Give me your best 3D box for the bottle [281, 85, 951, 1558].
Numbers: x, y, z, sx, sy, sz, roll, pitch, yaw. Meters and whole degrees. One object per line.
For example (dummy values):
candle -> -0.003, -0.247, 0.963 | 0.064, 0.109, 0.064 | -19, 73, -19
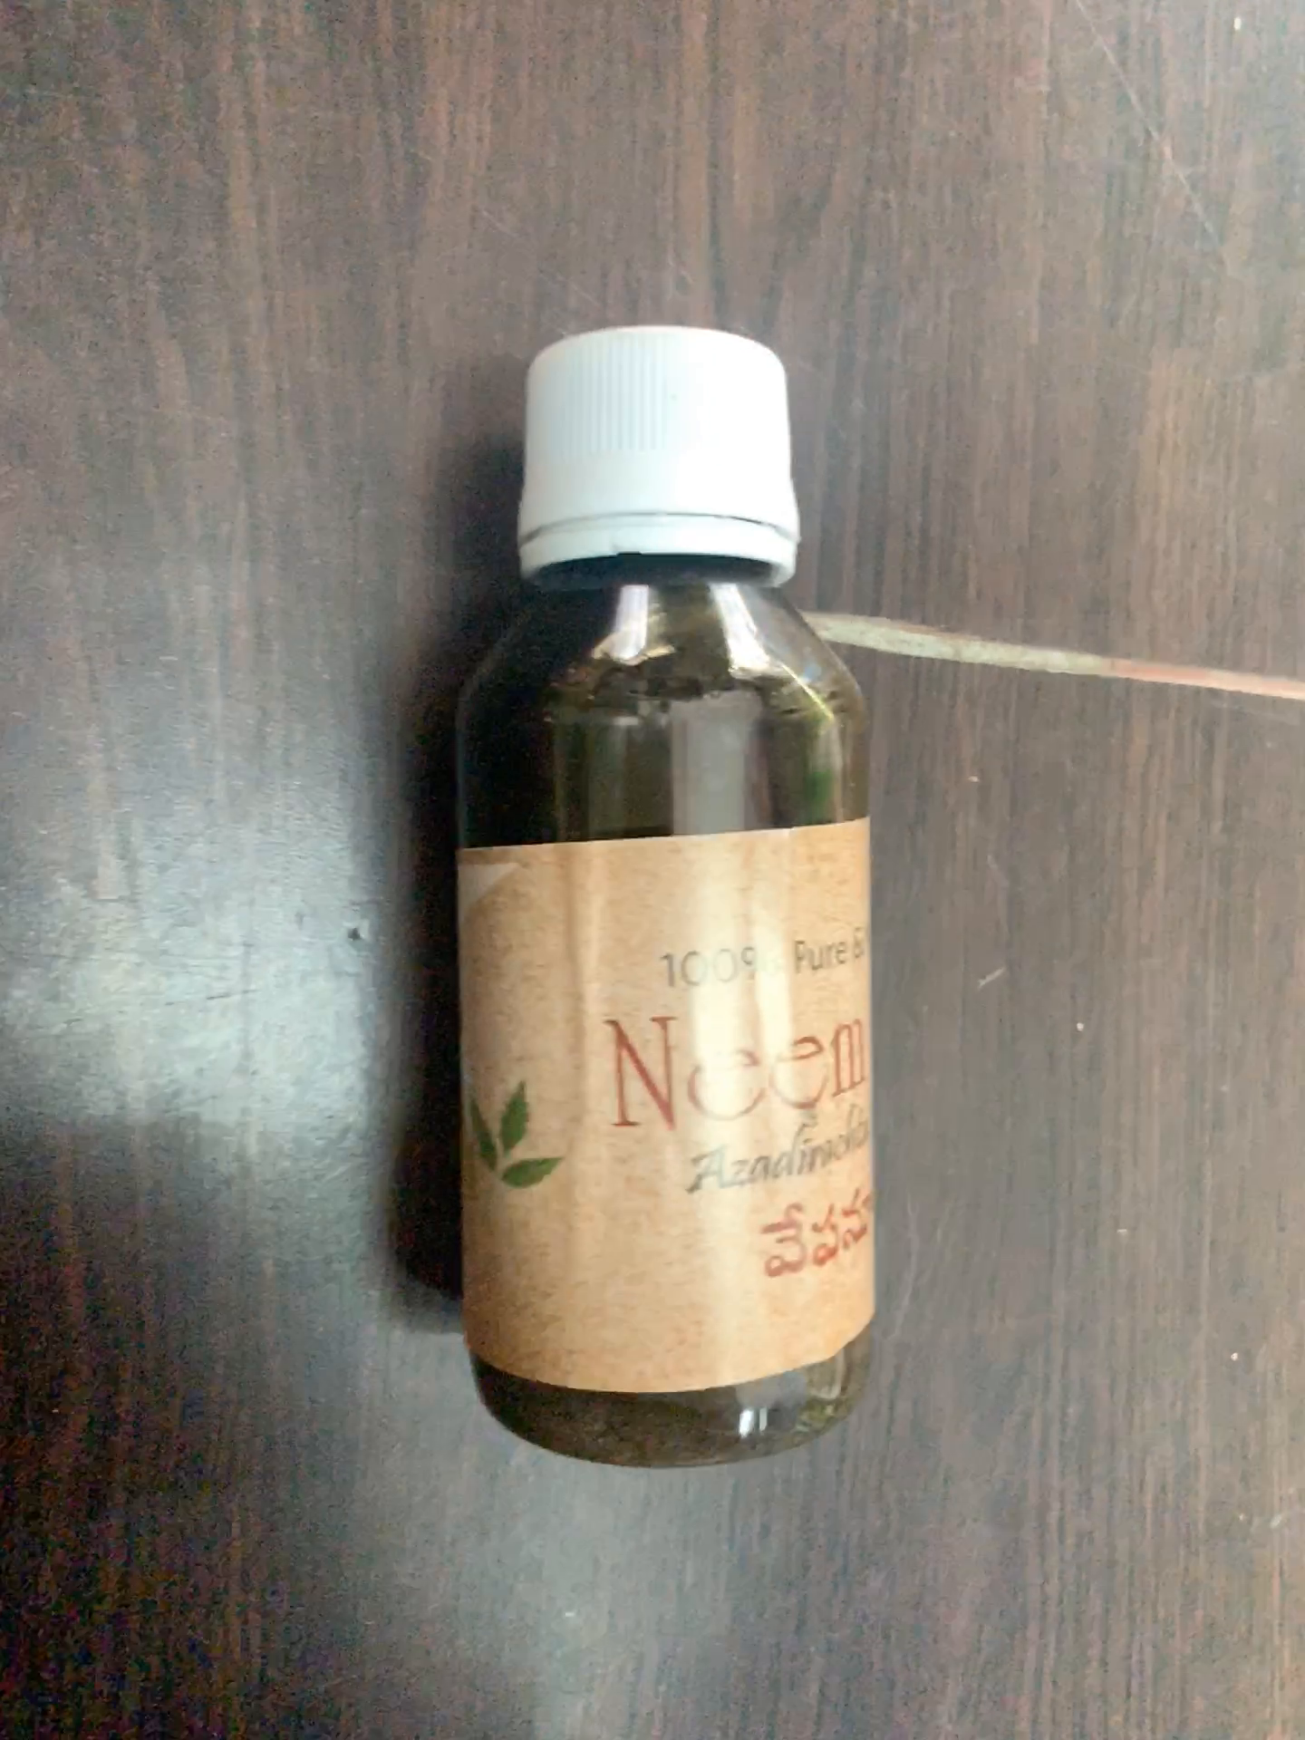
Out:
bottle -> -0.002, -0.004, 0.145 | 0.050, 0.040, 0.120 | -6, 94, -47
